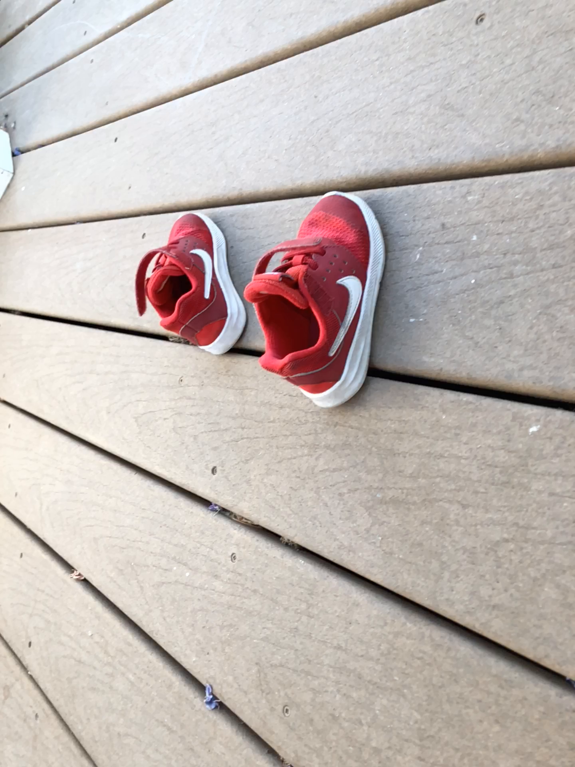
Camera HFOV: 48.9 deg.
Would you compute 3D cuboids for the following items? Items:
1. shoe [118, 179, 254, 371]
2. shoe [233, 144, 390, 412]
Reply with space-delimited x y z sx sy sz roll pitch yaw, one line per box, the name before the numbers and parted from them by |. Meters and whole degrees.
shoe | -0.098 -0.100 0.587 0.073 0.069 0.153 -41 52 31
shoe | 0.019 -0.068 0.450 0.070 0.069 0.164 -7 74 45
